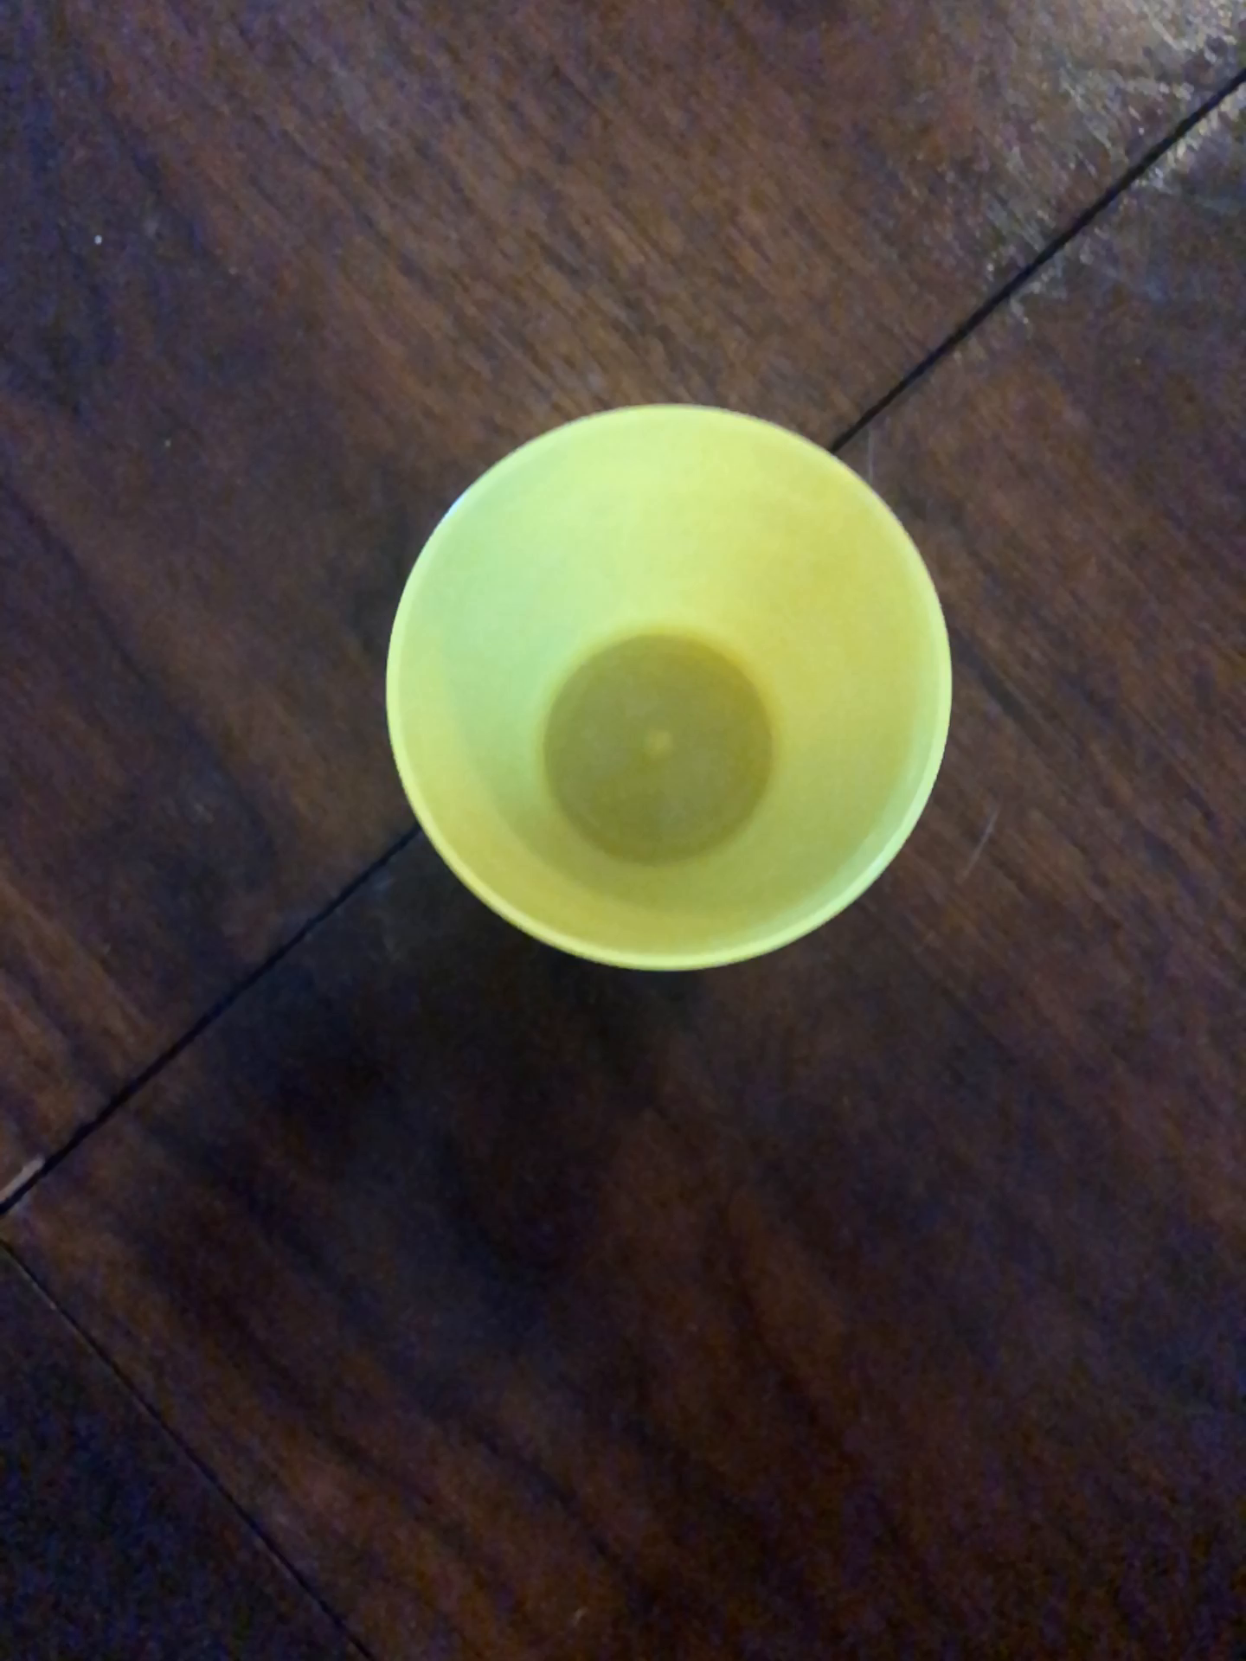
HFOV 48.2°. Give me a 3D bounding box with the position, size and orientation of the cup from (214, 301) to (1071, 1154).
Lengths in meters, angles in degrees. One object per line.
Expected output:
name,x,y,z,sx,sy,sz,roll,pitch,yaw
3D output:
cup,0.003,-0.012,0.223,0.080,0.080,0.080,0,87,1
